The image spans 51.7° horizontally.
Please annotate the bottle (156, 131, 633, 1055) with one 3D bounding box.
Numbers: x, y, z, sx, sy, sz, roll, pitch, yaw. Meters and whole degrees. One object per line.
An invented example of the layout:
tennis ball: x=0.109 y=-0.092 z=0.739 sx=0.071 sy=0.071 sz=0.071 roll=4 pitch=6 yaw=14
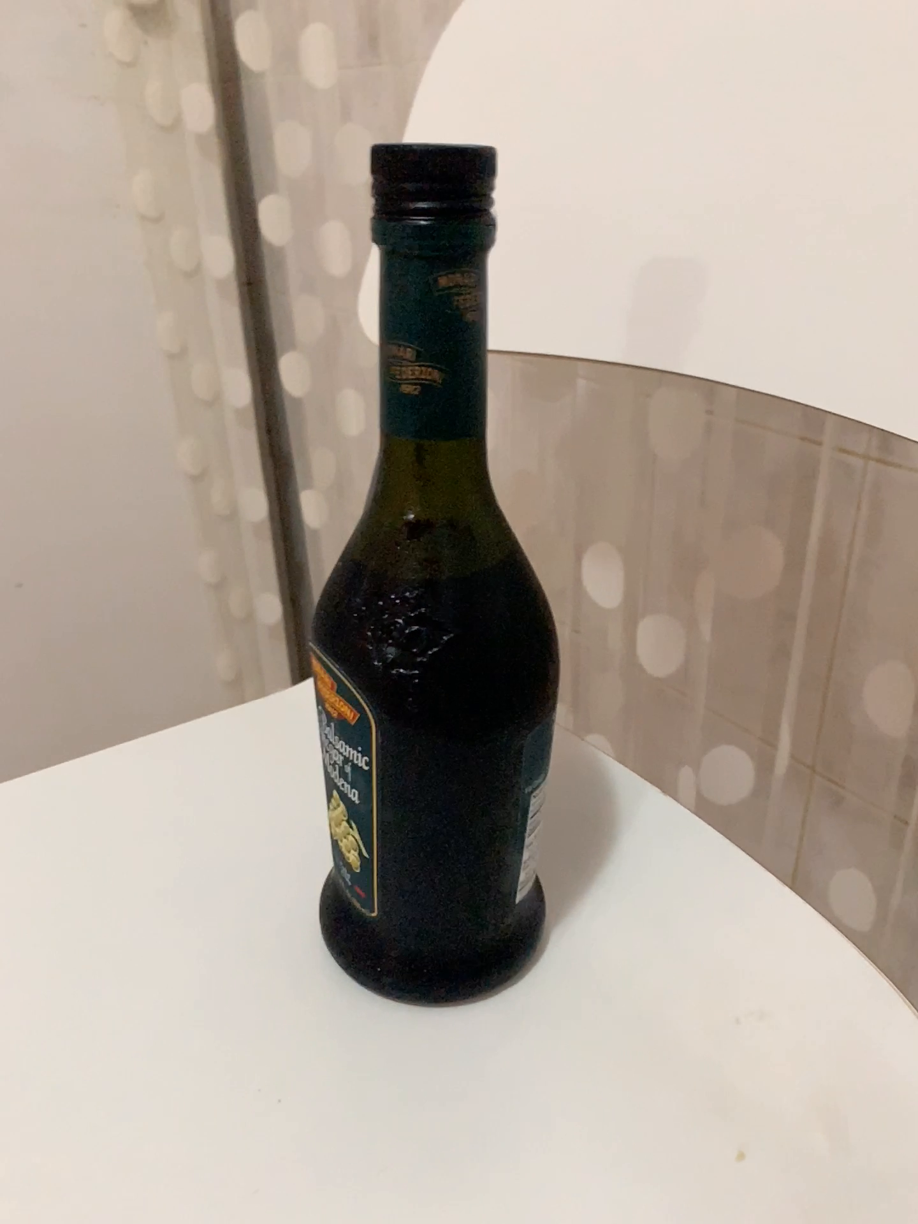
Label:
bottle: x=-0.015 y=-0.004 z=0.280 sx=0.080 sy=0.243 sz=0.090 roll=-18 pitch=31 yaw=-27
